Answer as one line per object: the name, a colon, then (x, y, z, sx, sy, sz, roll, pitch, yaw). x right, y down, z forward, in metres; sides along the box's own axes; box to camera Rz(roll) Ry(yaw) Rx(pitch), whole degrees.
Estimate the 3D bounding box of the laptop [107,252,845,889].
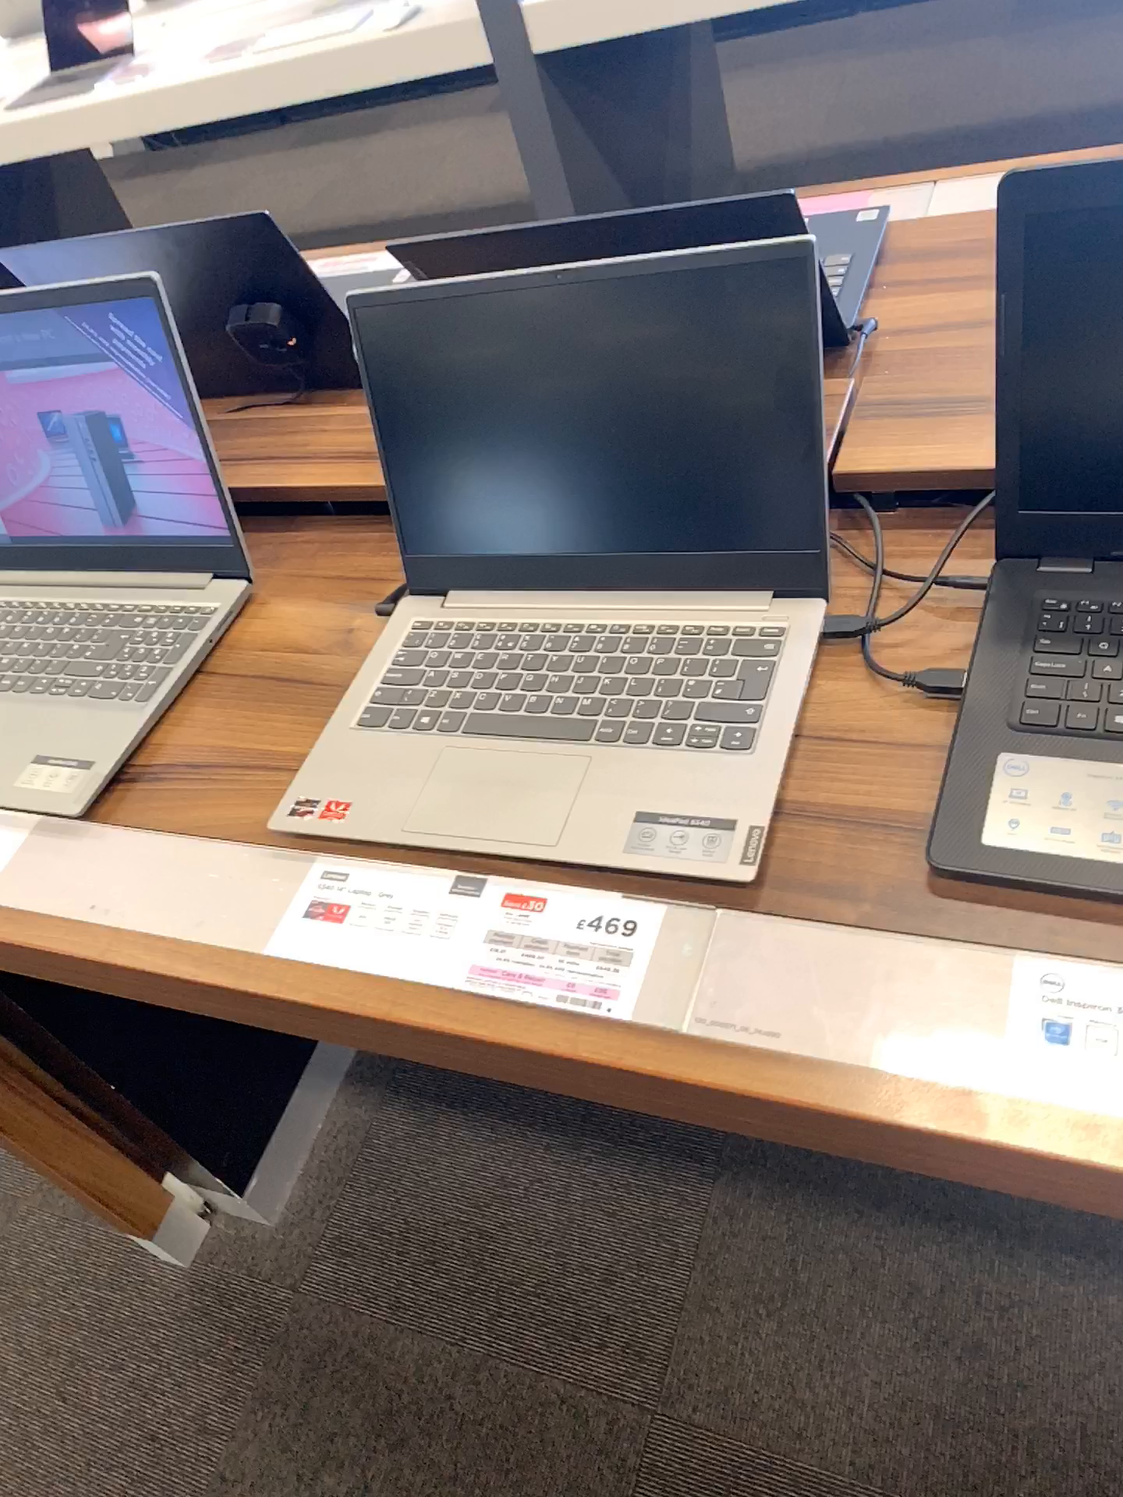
laptop: (-0.023, -0.114, 0.692, 0.316, 0.199, 0.296, 4, 49, 25)
